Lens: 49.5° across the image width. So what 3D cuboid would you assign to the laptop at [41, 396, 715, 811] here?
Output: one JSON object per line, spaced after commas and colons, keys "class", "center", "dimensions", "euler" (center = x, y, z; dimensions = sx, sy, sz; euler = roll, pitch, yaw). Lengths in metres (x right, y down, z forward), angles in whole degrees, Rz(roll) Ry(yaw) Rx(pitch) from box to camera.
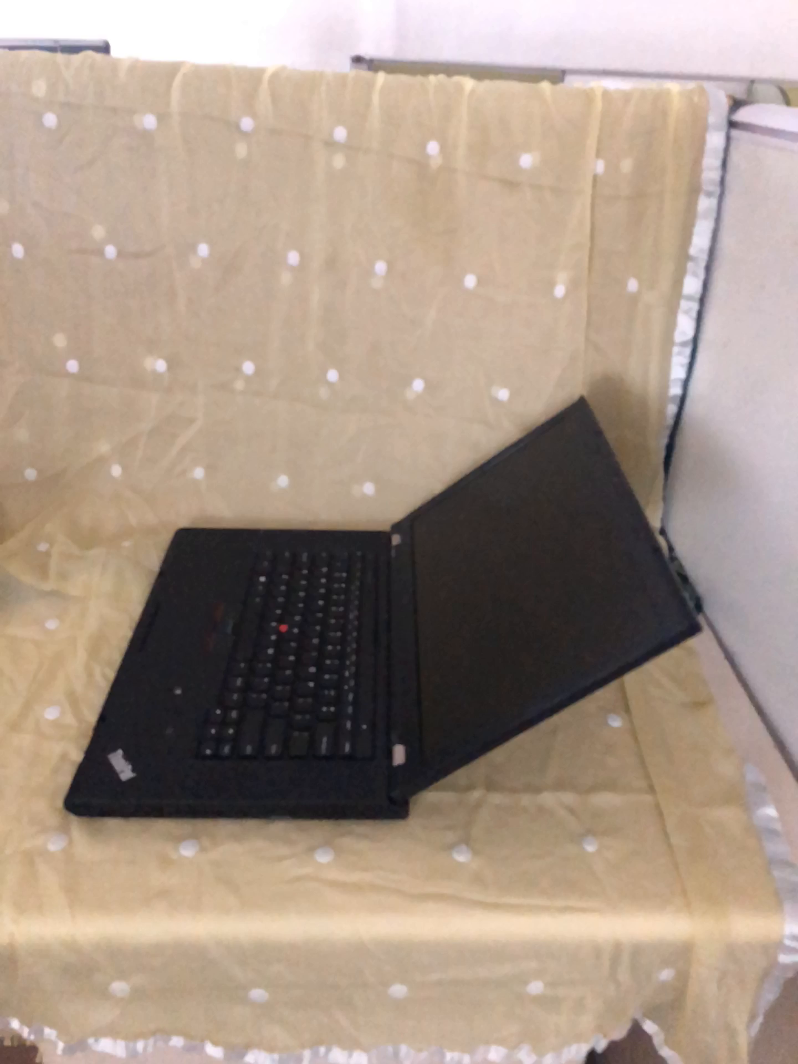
{"class": "laptop", "center": [-0.020, 0.034, 0.732], "dimensions": [0.424, 0.156, 0.349], "euler": [-1, 31, 0]}
